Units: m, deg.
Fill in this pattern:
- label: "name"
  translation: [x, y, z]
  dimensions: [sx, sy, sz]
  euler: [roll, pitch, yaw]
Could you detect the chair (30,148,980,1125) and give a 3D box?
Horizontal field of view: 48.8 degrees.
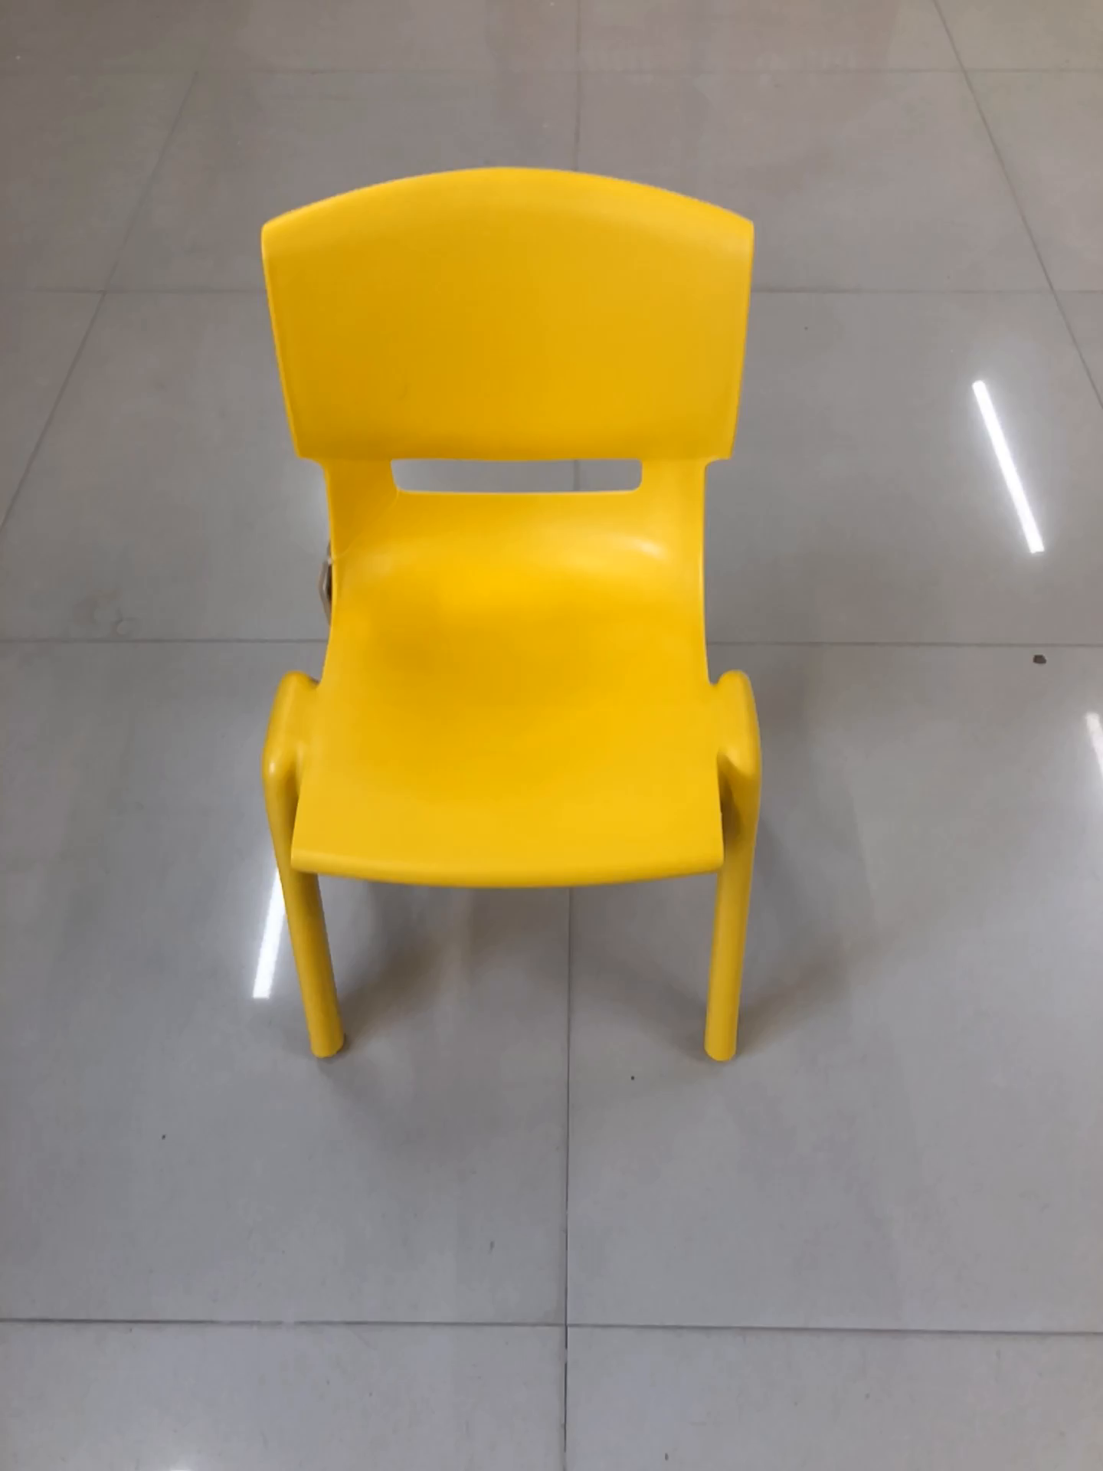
- label: "chair"
  translation: [-0.017, -0.055, 0.757]
  dimensions: [0.360, 0.398, 0.453]
  euler: [-1, 52, 0]
